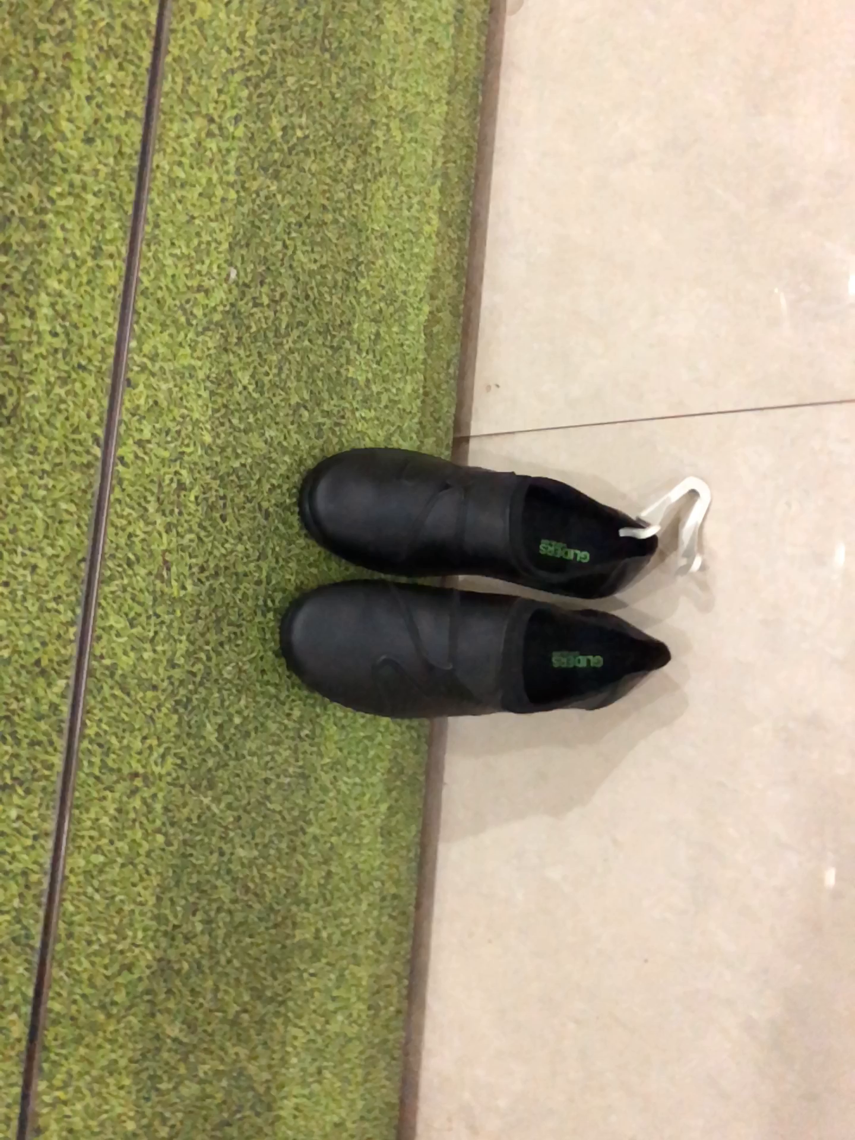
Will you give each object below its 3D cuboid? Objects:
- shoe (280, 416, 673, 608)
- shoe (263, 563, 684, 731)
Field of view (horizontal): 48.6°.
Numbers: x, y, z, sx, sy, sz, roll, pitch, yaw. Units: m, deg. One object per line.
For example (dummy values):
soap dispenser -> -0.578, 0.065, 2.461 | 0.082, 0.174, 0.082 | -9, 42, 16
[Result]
shoe -> 0.033, -0.030, 0.591 | 0.067, 0.228, 0.074 | 178, 101, -70
shoe -> 0.026, 0.052, 0.615 | 0.107, 0.248, 0.087 | 161, 112, -75
